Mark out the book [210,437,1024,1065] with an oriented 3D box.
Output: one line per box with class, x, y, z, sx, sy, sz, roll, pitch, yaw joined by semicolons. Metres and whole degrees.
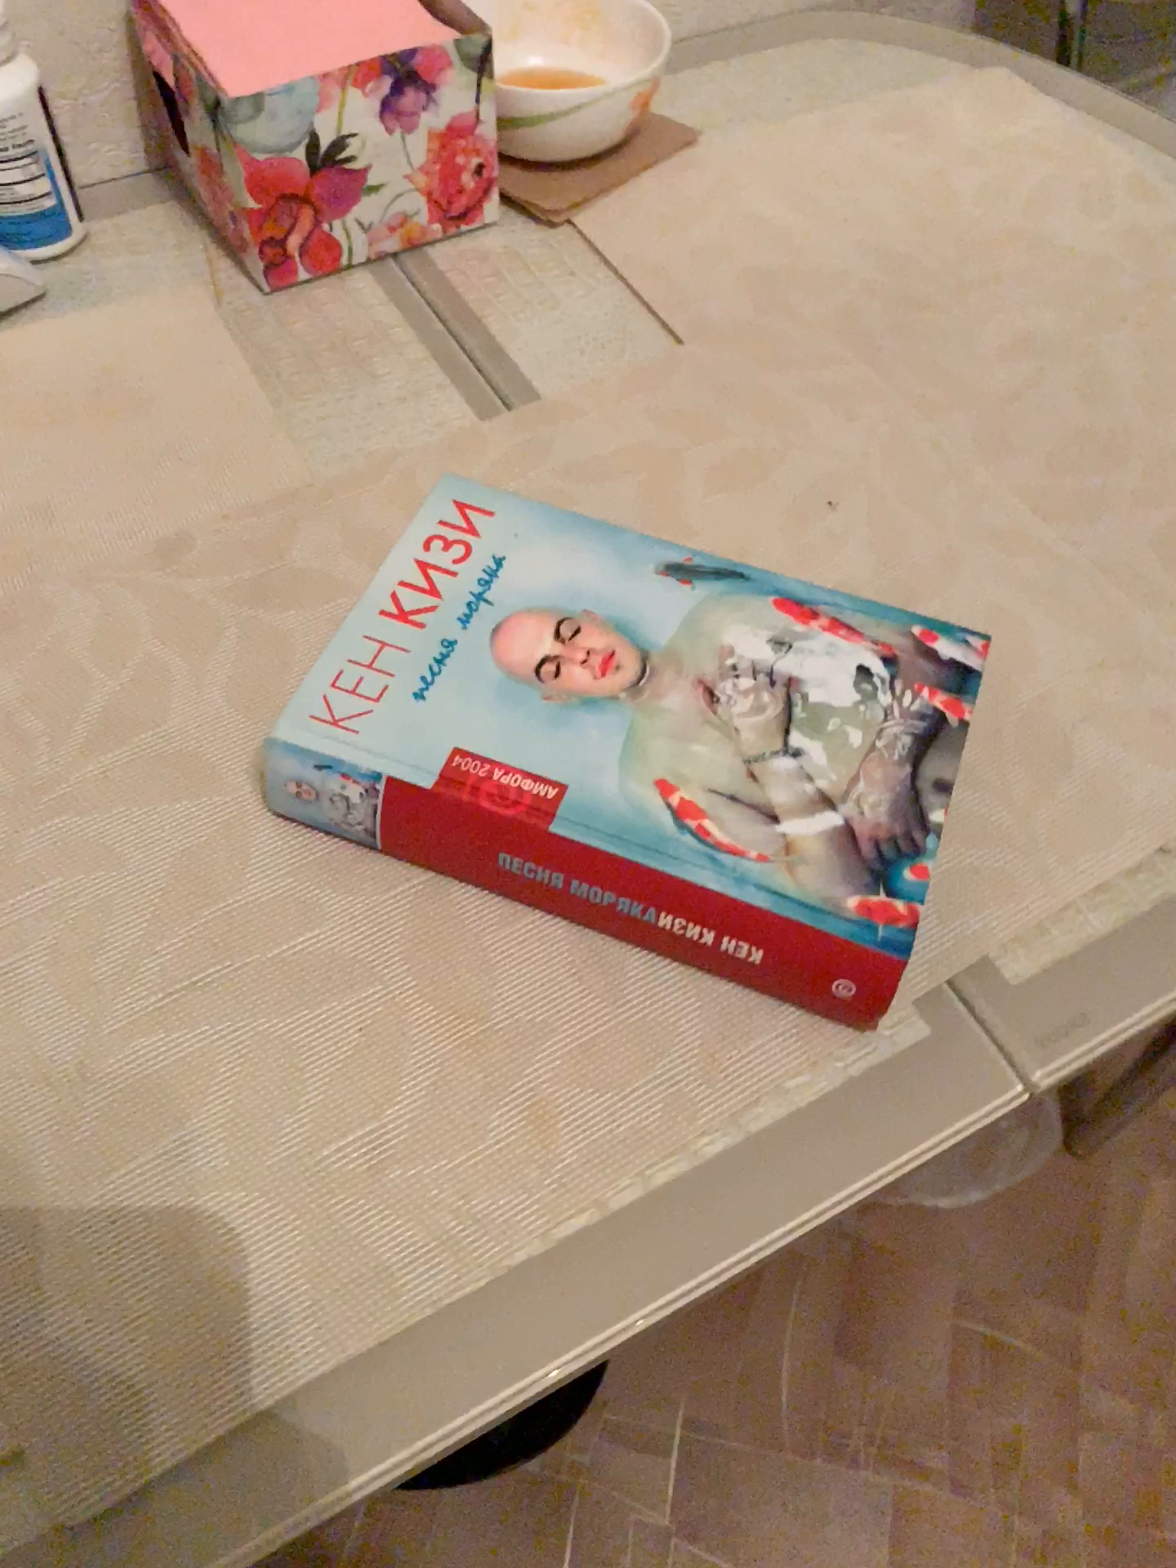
book;0.015;-0.022;0.386;0.210;0.040;0.151;18;57;11
